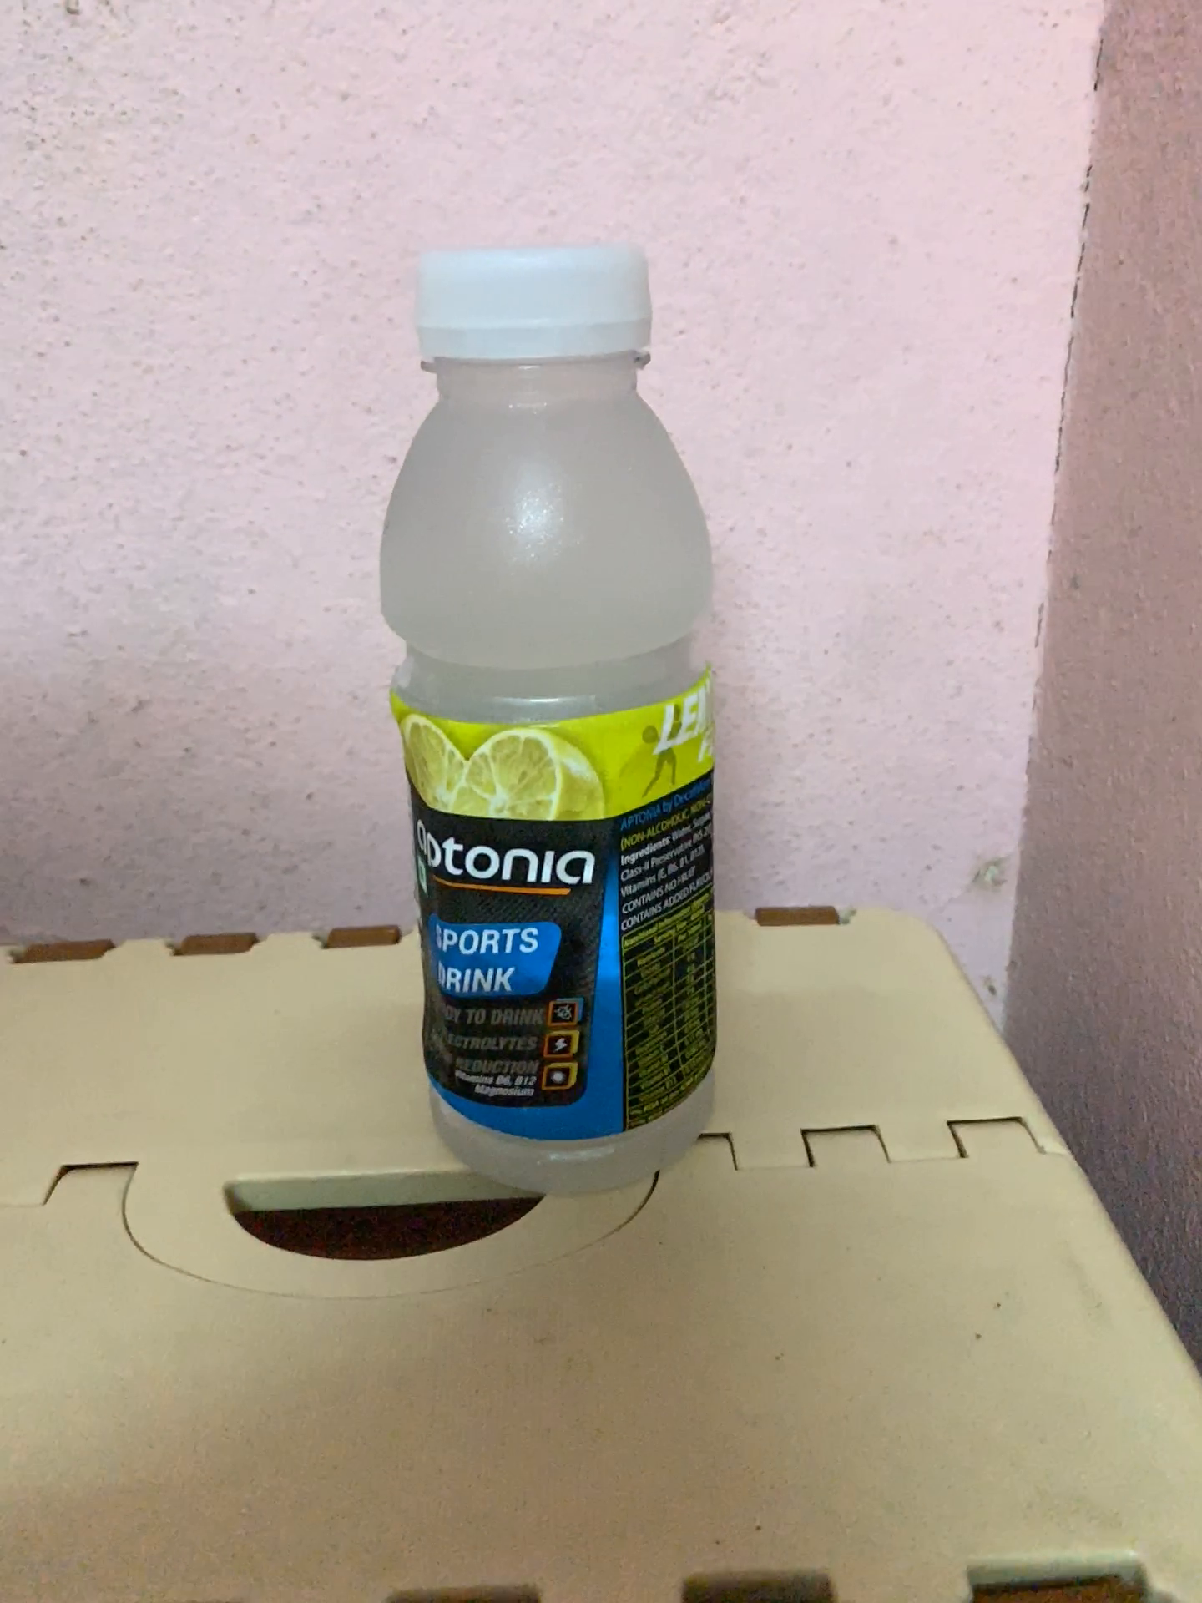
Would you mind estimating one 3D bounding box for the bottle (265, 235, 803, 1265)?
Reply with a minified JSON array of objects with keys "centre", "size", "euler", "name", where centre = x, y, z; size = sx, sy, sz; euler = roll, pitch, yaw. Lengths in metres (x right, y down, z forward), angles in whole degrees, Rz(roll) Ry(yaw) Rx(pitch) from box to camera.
[{"centre":[-0.006,-0.010,0.243],"size":[0.070,0.179,0.060],"euler":[9,25,24],"name":"bottle"}]
